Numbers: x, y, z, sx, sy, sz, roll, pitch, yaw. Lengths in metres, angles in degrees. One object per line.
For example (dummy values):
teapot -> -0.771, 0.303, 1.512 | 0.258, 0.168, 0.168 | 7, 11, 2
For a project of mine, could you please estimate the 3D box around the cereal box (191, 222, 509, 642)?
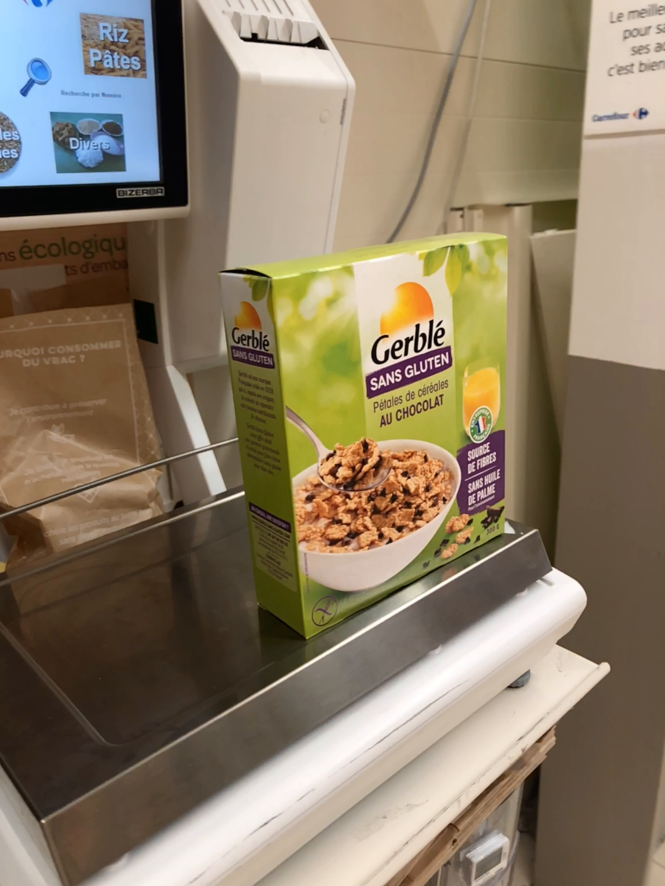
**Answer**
cereal box -> 0.027, -0.019, 0.477 | 0.201, 0.219, 0.060 | -20, 25, -35
